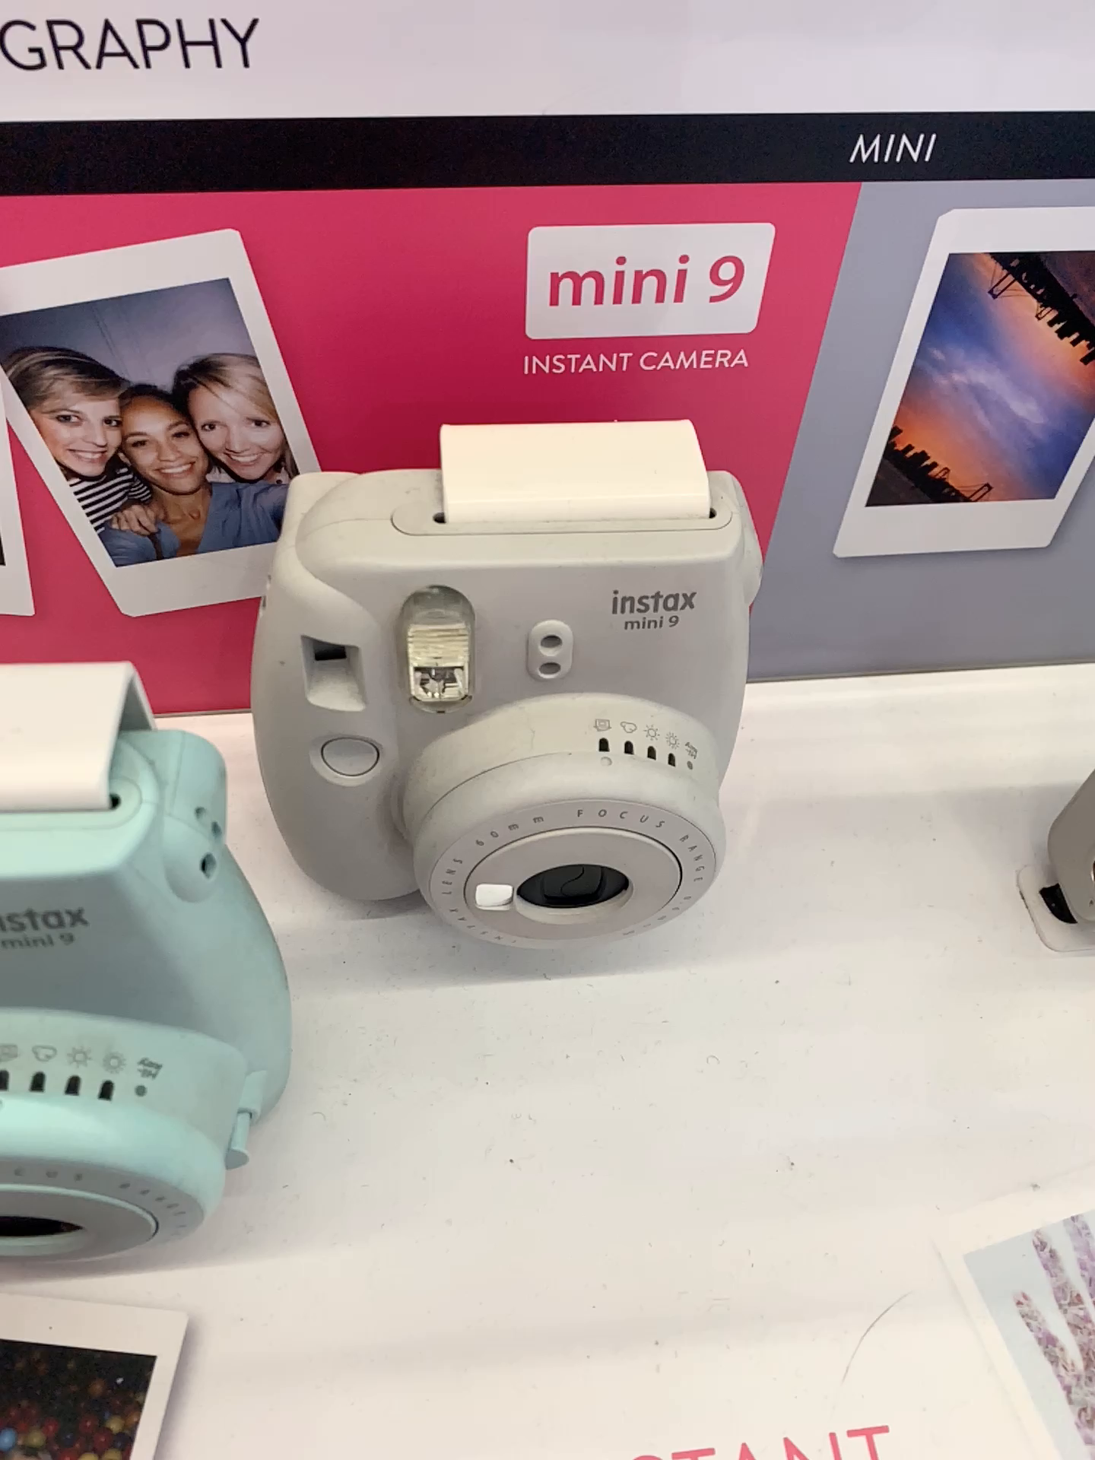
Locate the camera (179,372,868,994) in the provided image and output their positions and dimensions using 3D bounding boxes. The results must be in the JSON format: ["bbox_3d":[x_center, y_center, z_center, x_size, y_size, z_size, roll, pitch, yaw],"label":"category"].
[{"bbox_3d":[-0.008,-0.007,0.248,0.110,0.109,0.081,-2,52,-5],"label":"camera"}]
